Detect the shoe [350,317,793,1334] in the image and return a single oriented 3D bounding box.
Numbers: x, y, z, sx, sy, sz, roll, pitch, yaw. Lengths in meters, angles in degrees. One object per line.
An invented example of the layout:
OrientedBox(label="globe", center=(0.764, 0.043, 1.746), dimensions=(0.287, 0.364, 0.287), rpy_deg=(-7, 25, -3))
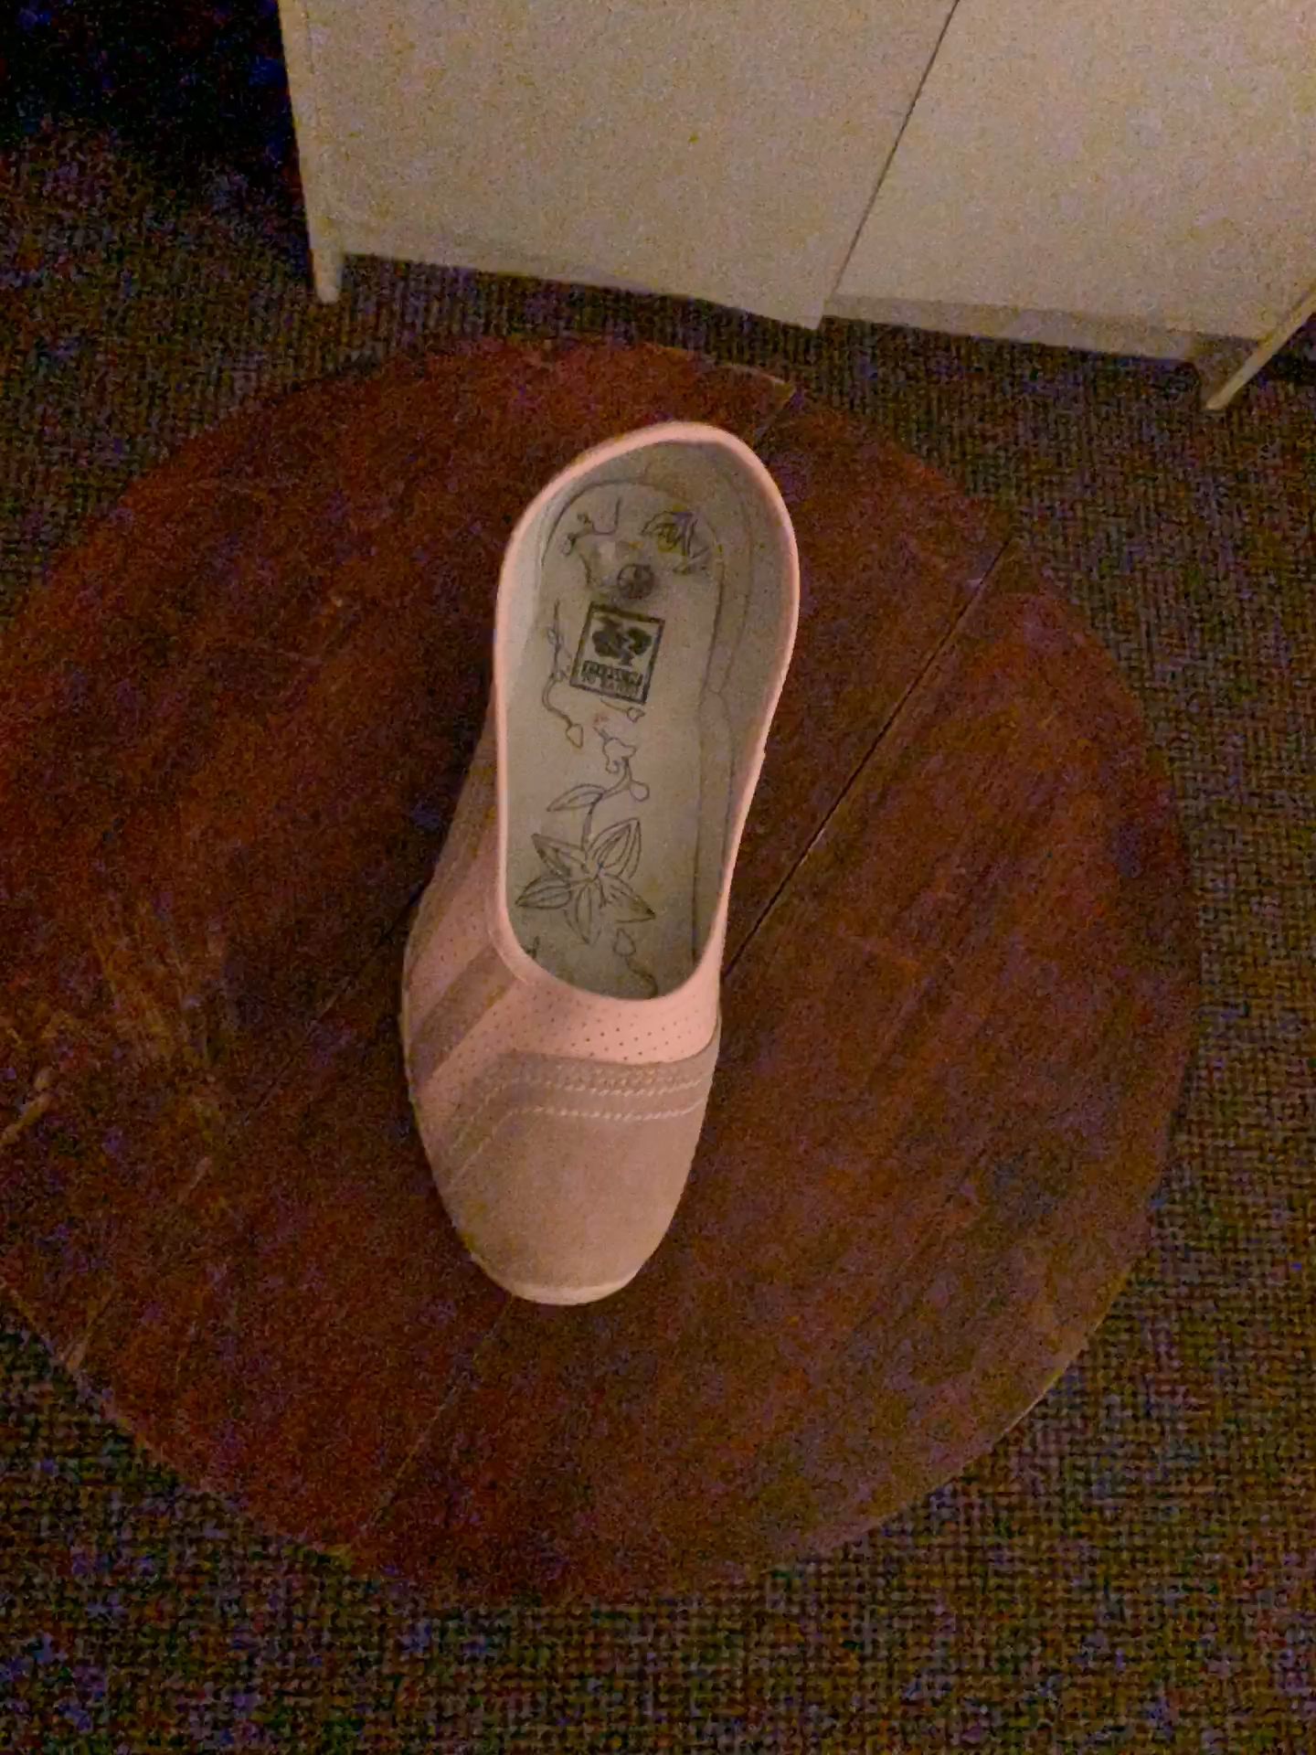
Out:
OrientedBox(label="shoe", center=(-0.021, -0.017, 0.386), dimensions=(0.090, 0.070, 0.271), rpy_deg=(7, 73, -7))
